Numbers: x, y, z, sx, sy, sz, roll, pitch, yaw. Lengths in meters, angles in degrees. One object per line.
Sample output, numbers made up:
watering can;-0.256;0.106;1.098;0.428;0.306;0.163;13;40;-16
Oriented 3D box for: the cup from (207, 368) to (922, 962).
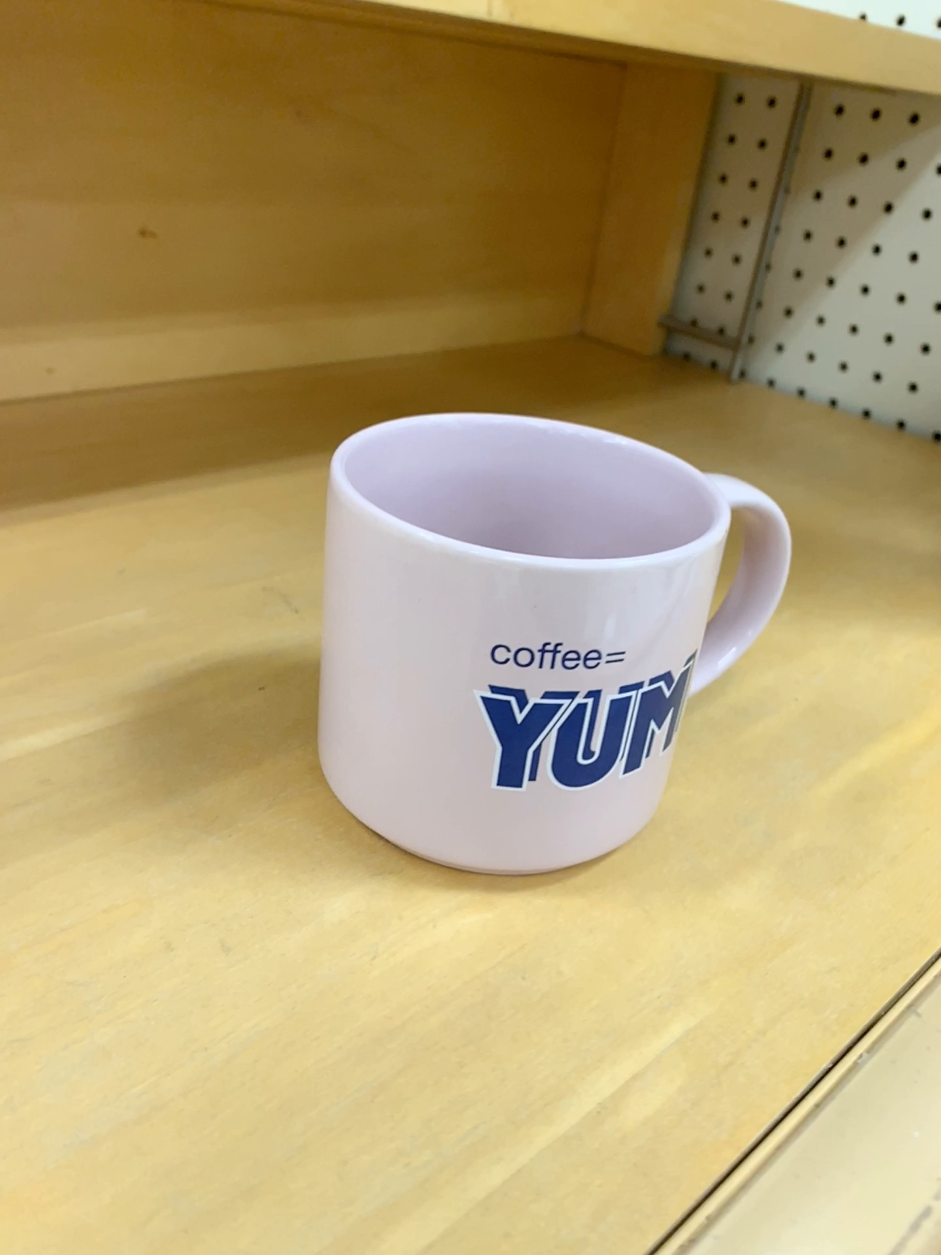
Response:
cup;0.021;-0.006;0.250;0.141;0.082;0.097;-17;37;-36
